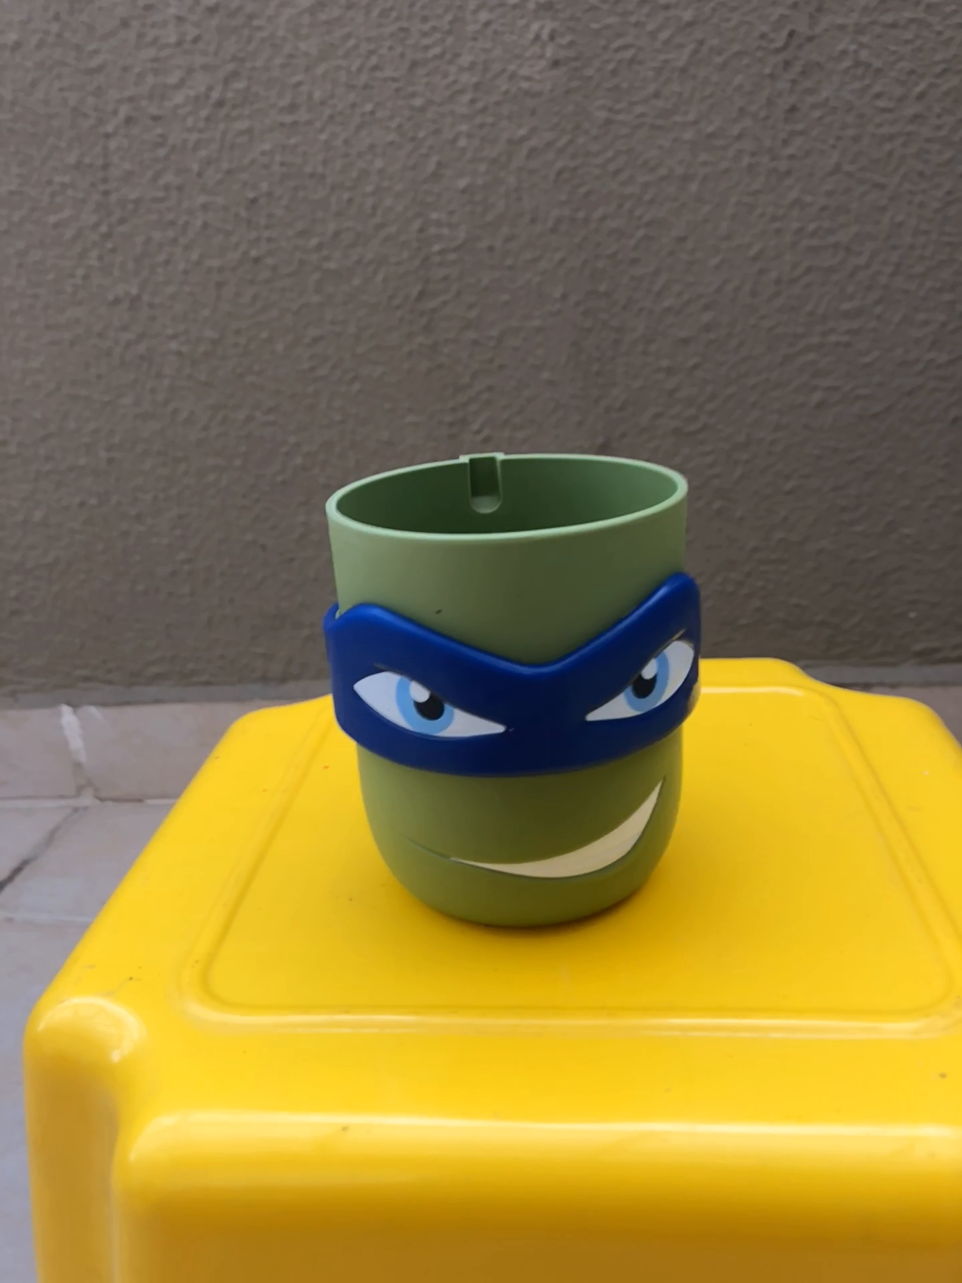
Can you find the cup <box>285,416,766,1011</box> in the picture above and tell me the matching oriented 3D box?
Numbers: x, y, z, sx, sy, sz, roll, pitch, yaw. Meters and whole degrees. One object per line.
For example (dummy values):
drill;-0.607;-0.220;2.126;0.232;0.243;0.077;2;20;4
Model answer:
cup;0.006;0.005;0.243;0.080;0.090;0.111;-6;20;-4
